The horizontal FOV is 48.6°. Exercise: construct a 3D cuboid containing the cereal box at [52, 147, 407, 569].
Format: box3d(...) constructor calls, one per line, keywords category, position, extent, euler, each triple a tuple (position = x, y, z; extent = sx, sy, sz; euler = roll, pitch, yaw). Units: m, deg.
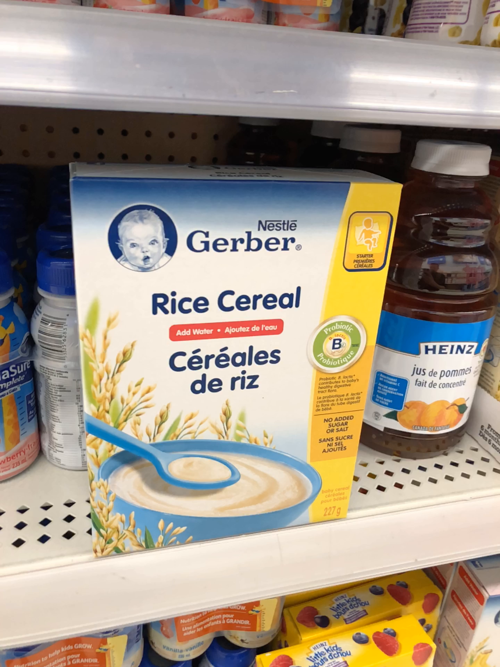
box3d(category="cereal box", position=(-0.018, 0.014, 0.292), extent=(0.150, 0.199, 0.060), euler=(-3, 25, -17))
